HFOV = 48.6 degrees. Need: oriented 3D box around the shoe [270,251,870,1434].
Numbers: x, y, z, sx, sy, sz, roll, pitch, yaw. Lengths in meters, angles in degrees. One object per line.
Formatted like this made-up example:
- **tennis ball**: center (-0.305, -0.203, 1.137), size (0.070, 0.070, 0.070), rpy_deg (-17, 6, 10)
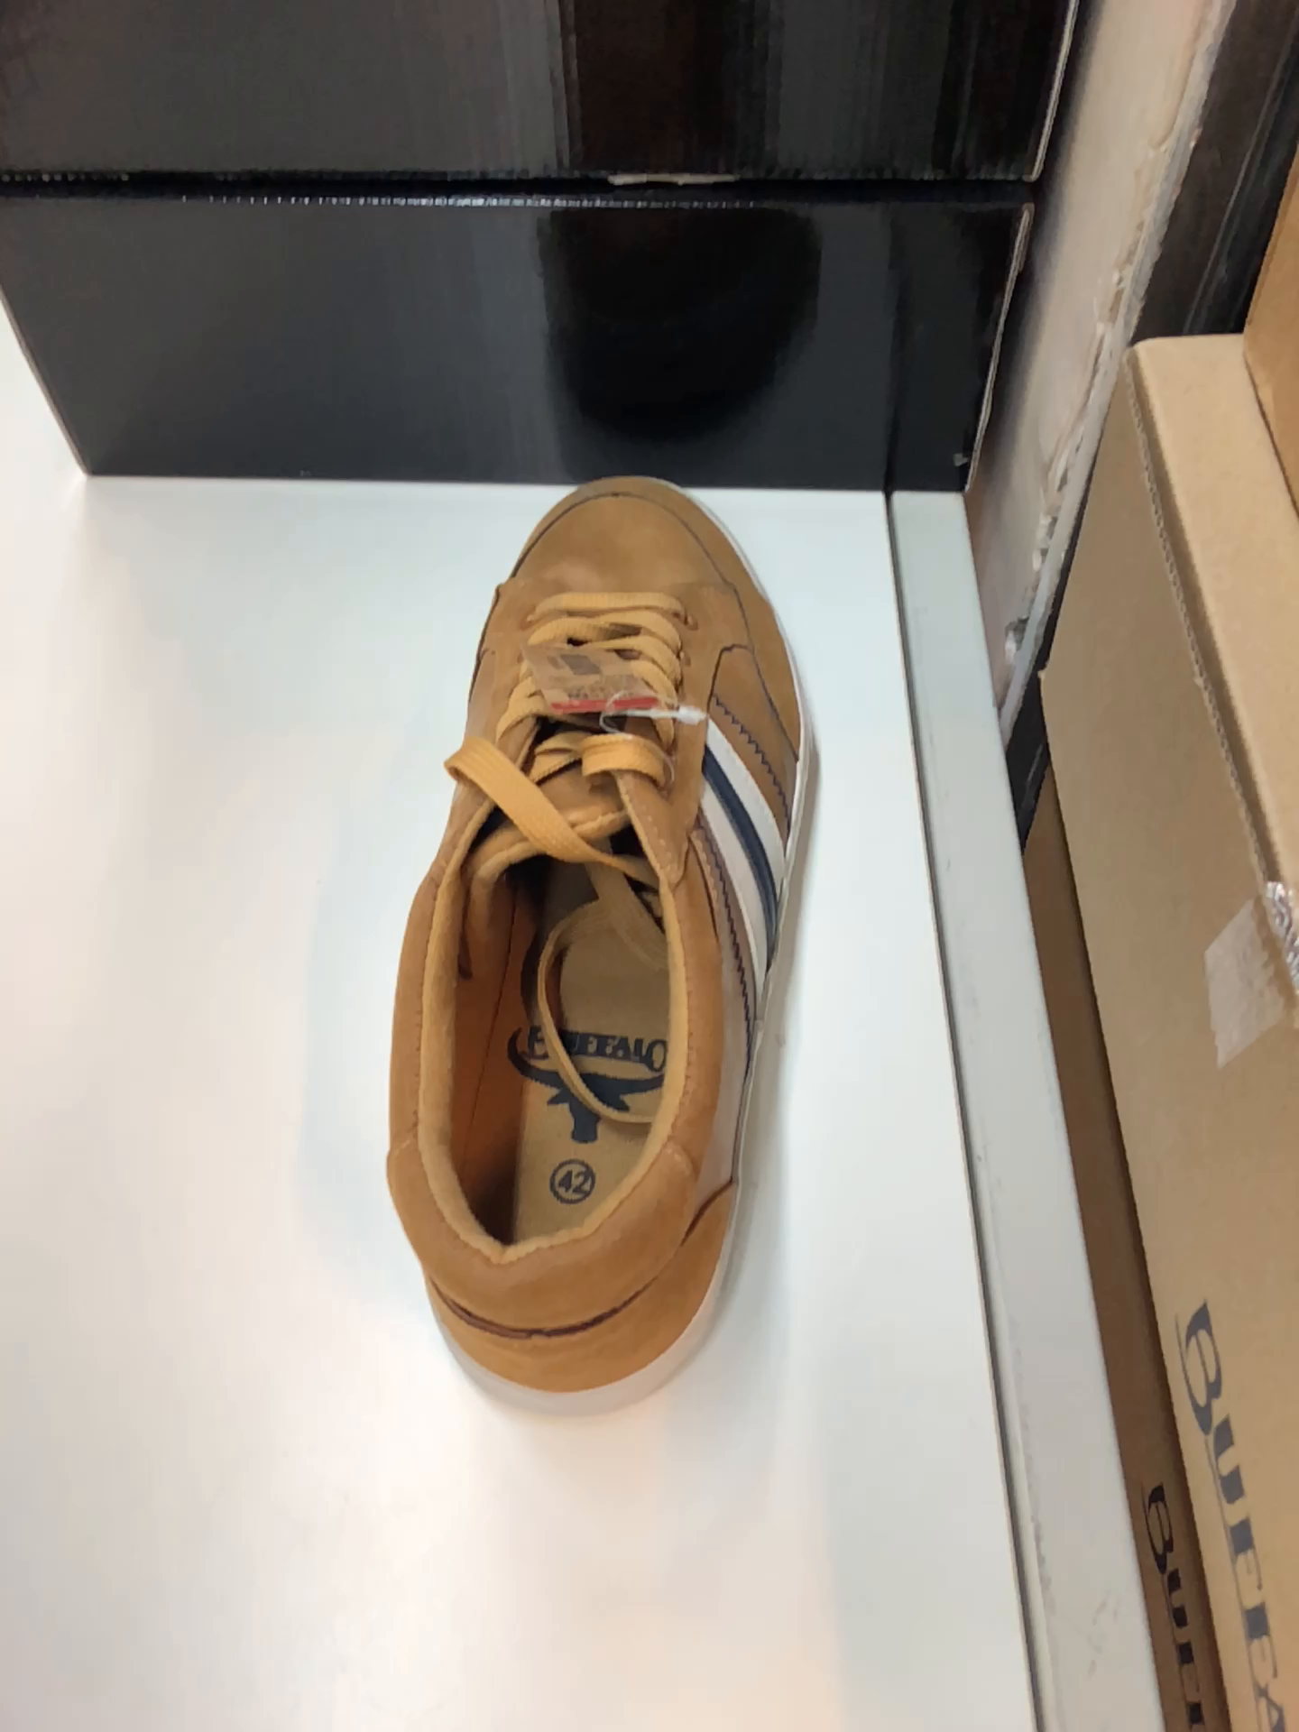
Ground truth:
- **shoe**: center (-0.005, -0.021, 0.372), size (0.105, 0.104, 0.295), rpy_deg (2, 58, 3)
